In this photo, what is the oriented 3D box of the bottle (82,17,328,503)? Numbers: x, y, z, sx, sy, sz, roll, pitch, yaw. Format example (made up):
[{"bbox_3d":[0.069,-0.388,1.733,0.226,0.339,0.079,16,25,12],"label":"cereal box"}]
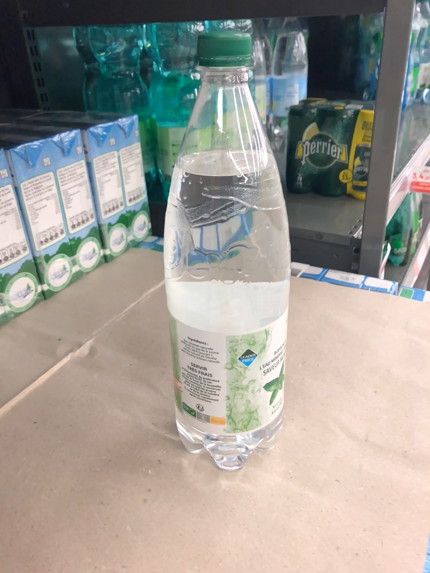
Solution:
[{"bbox_3d":[0.005,-0.009,0.323,0.090,0.298,0.101,15,34,29],"label":"bottle"}]
